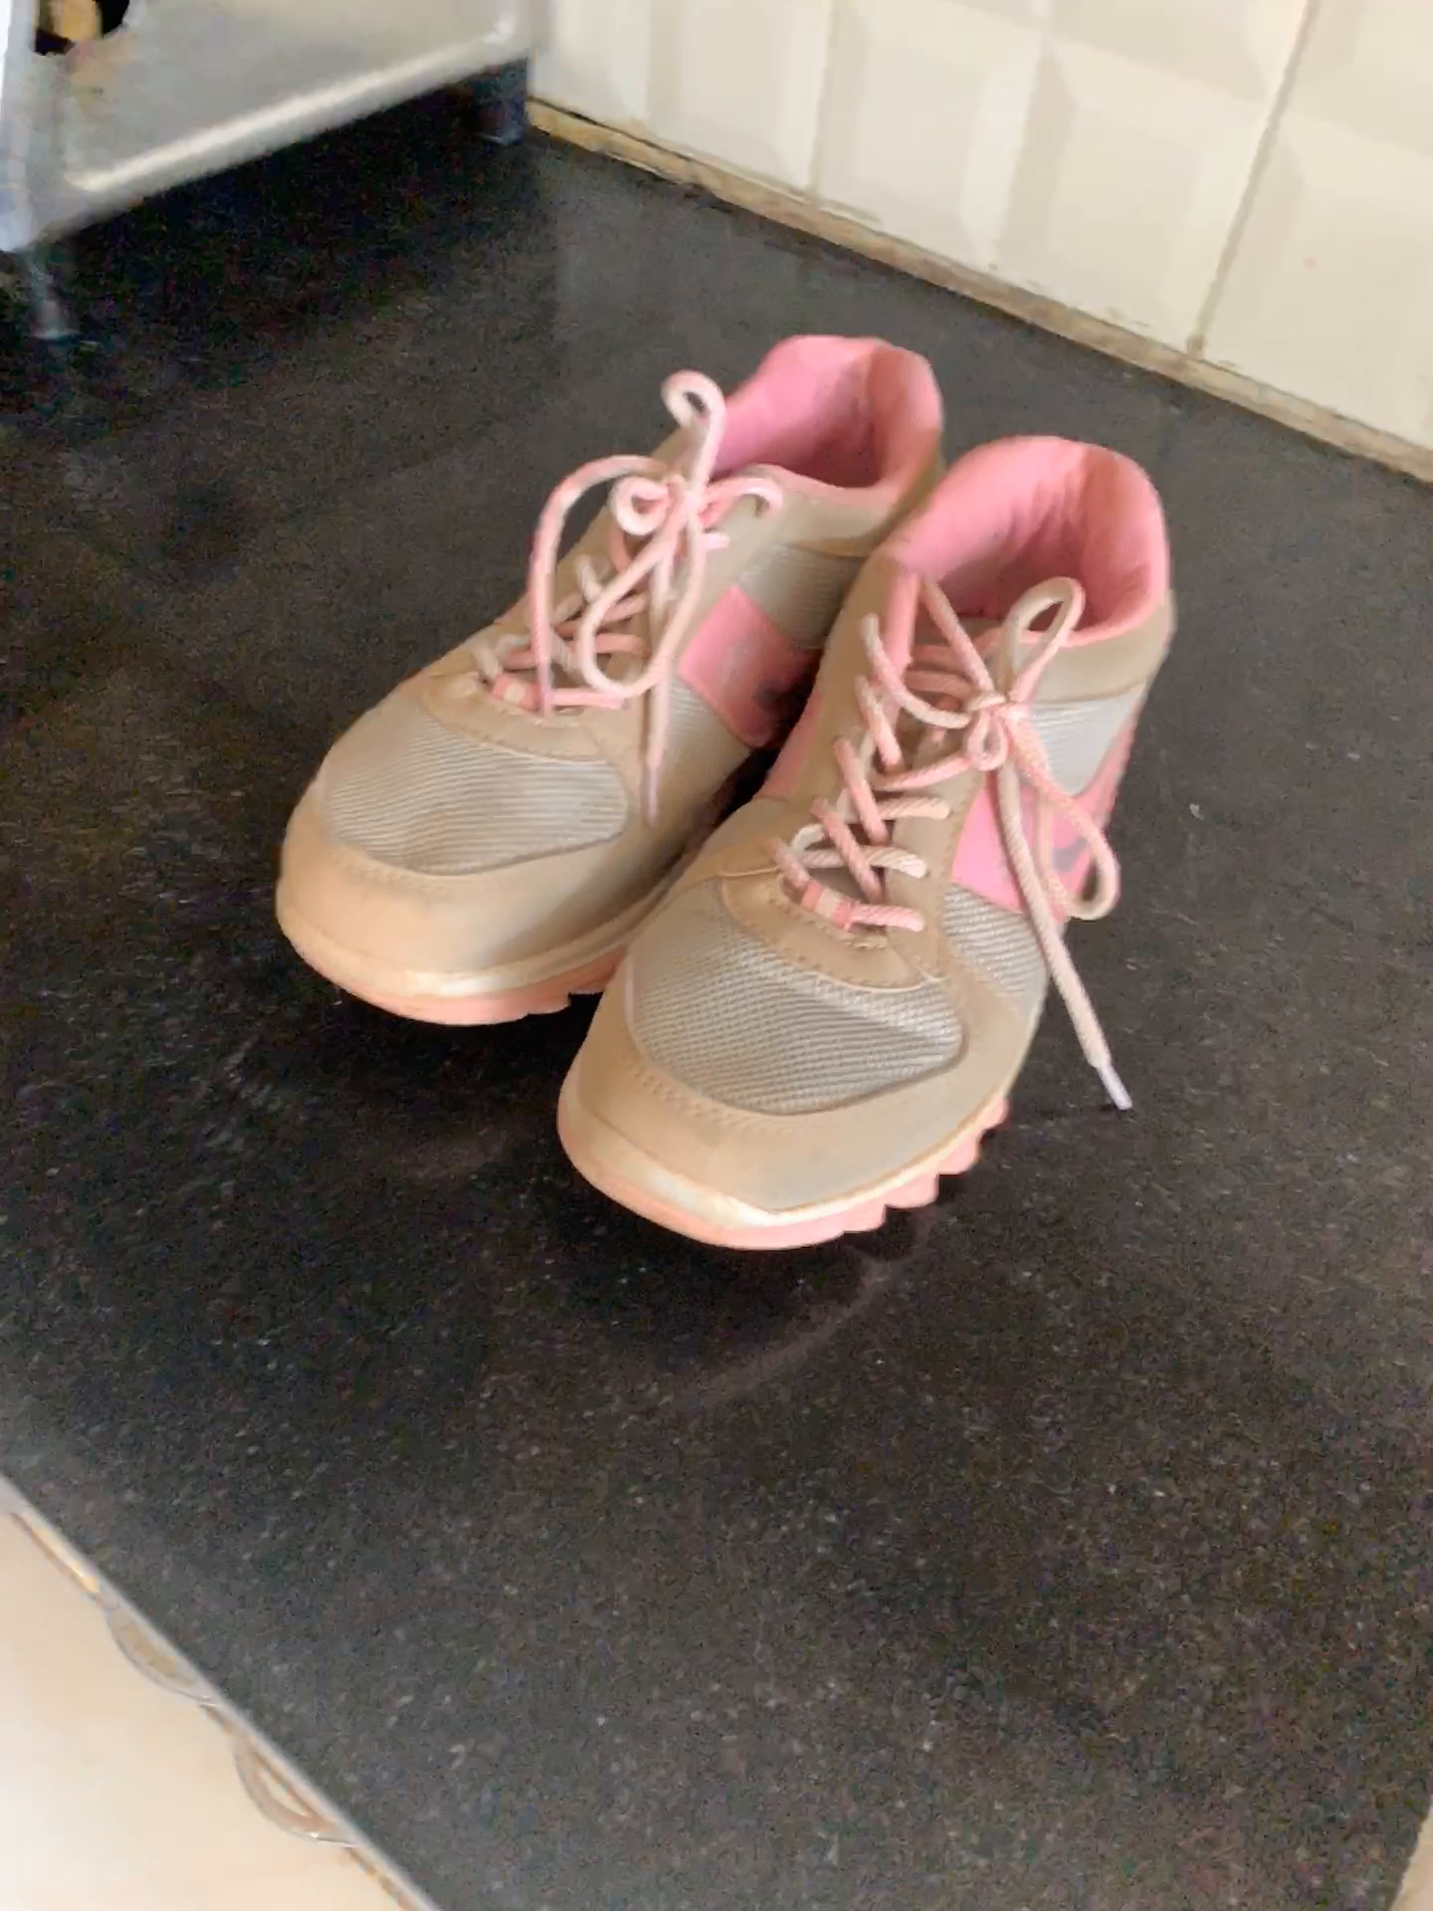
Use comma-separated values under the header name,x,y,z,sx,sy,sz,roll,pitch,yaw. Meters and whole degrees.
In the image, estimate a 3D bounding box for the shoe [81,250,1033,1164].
name,x,y,z,sx,sy,sz,roll,pitch,yaw
shoe,-0.025,-0.080,0.392,0.100,0.099,0.241,29,54,19

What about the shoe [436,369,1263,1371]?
name,x,y,z,sx,sy,sz,roll,pitch,yaw
shoe,0.041,-0.035,0.362,0.090,0.099,0.231,25,53,16
